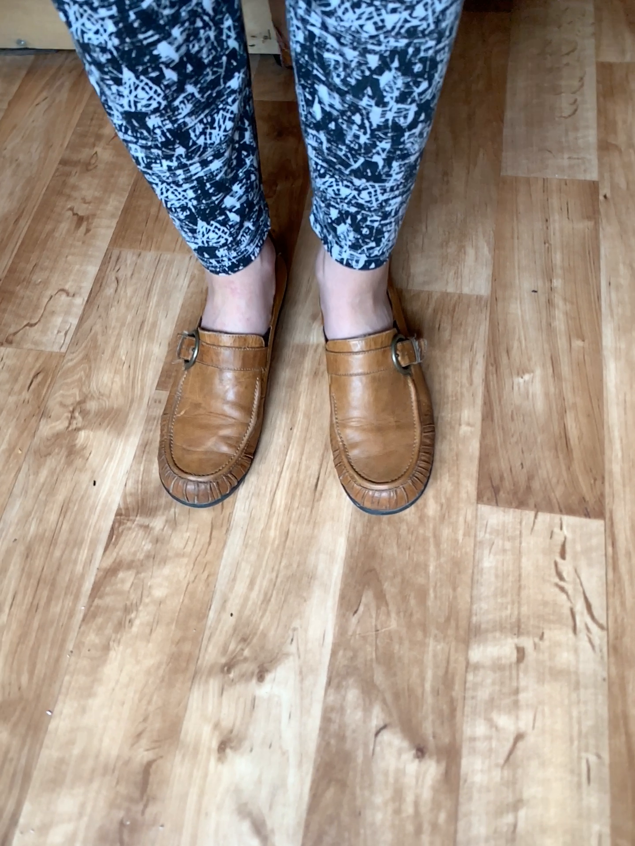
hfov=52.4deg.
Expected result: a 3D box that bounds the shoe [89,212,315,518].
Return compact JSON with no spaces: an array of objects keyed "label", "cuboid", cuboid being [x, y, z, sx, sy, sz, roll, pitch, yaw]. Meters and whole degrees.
[{"label":"shoe","cuboid":[-0.068,-0.044,0.442,0.080,0.070,0.190,11,65,11]}]

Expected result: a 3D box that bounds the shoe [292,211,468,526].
[{"label":"shoe","cuboid":[0.035,-0.039,0.426,0.080,0.070,0.190,-7,63,2]}]
